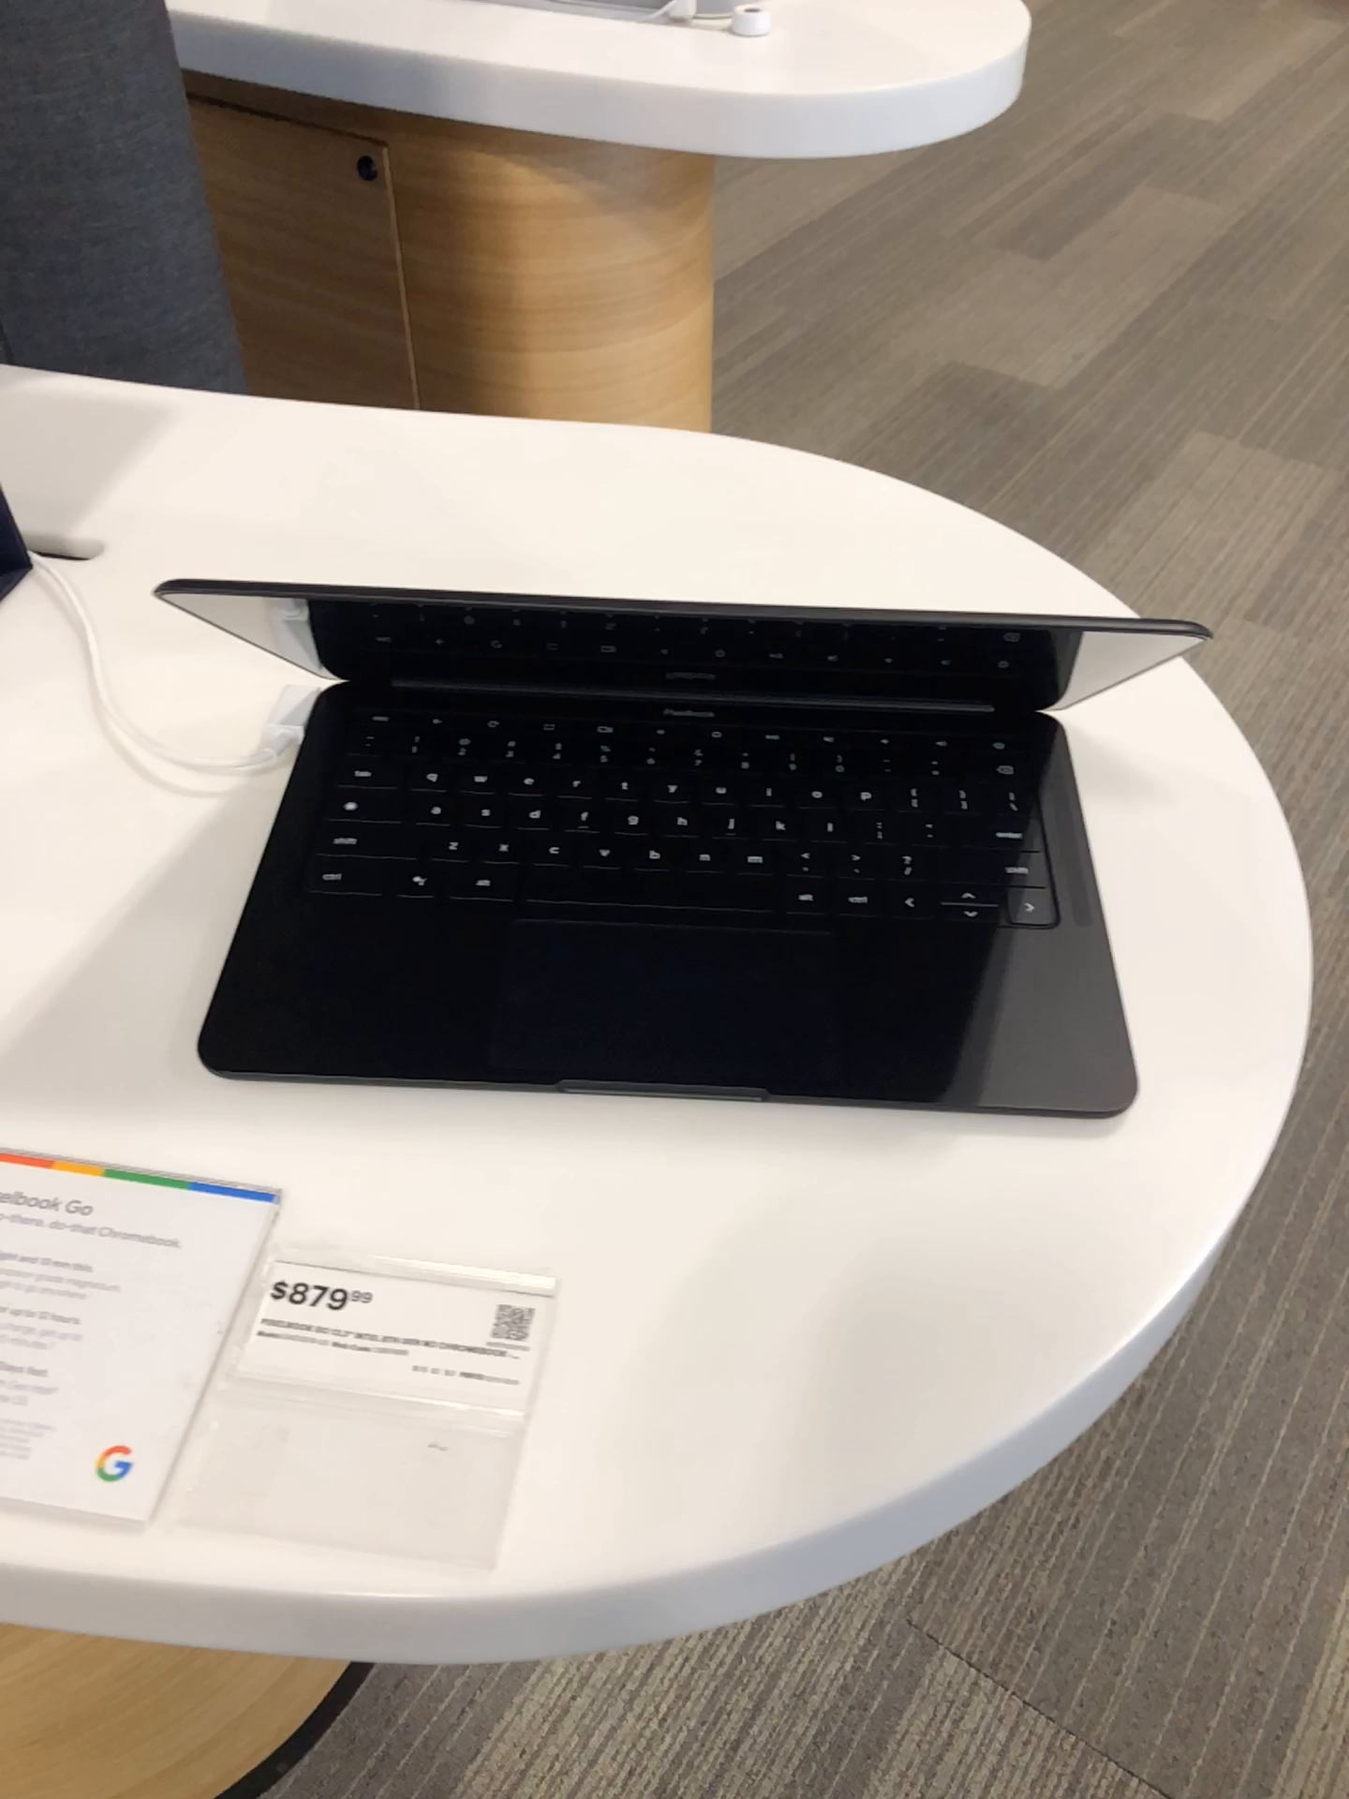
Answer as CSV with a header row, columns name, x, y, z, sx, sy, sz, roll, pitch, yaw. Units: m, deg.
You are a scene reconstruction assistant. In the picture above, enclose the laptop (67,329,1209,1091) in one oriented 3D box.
name,x,y,z,sx,sy,sz,roll,pitch,yaw
laptop,-0.001,-0.064,0.480,0.278,0.146,0.192,3,45,-1
